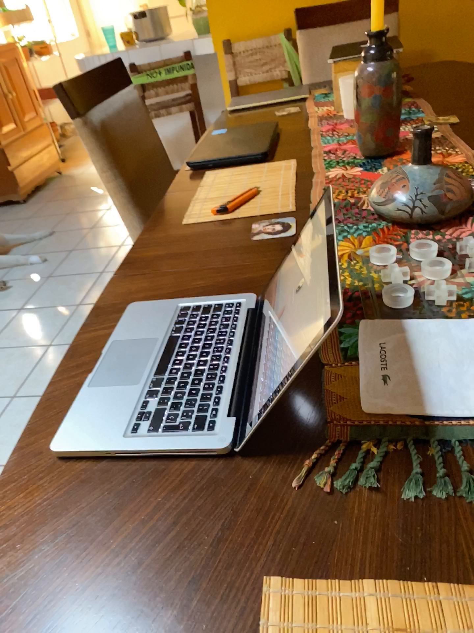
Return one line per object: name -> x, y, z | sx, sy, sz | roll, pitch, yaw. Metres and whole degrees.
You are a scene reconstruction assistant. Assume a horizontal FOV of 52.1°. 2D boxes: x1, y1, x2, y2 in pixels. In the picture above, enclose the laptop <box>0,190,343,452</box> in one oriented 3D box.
laptop -> -0.054, -0.008, 0.641 | 0.357, 0.171, 0.326 | -4, 34, 12
